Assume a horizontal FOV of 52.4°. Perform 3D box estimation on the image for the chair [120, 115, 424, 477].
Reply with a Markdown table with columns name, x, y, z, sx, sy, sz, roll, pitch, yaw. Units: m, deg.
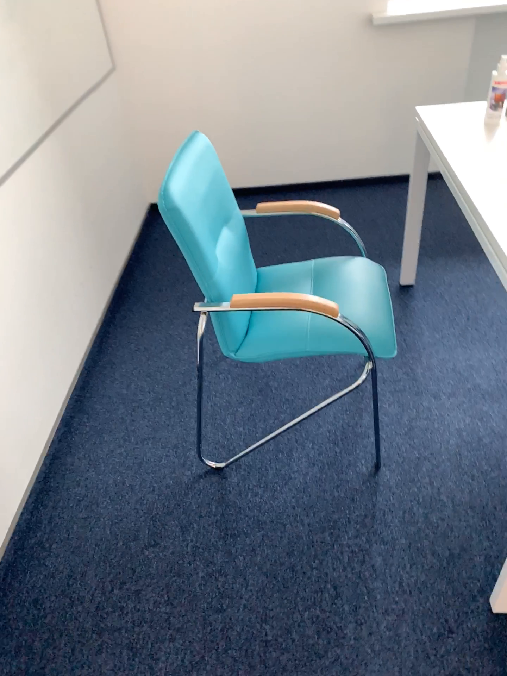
| name | x | y | z | sx | sy | sz | roll | pitch | yaw |
| --- | --- | --- | --- | --- | --- | --- | --- | --- | --- |
| chair | 0.103 | -0.099 | 1.609 | 0.650 | 0.924 | 0.584 | -1 | 40 | 8 |
